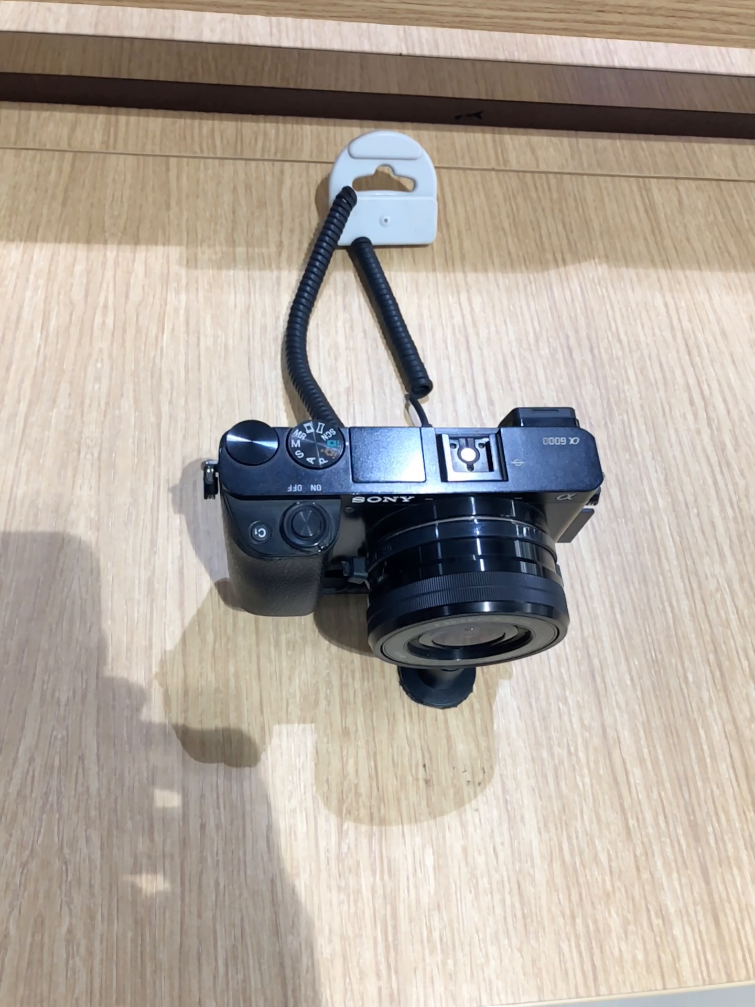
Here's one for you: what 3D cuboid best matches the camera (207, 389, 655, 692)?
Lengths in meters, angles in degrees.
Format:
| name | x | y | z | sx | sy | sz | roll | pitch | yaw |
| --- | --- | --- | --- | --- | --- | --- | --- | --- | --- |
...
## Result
| name | x | y | z | sx | sy | sz | roll | pitch | yaw |
| --- | --- | --- | --- | --- | --- | --- | --- | --- | --- |
| camera | 0.008 | 0.012 | 0.241 | 0.107 | 0.070 | 0.059 | -2 | 63 | -9 |
